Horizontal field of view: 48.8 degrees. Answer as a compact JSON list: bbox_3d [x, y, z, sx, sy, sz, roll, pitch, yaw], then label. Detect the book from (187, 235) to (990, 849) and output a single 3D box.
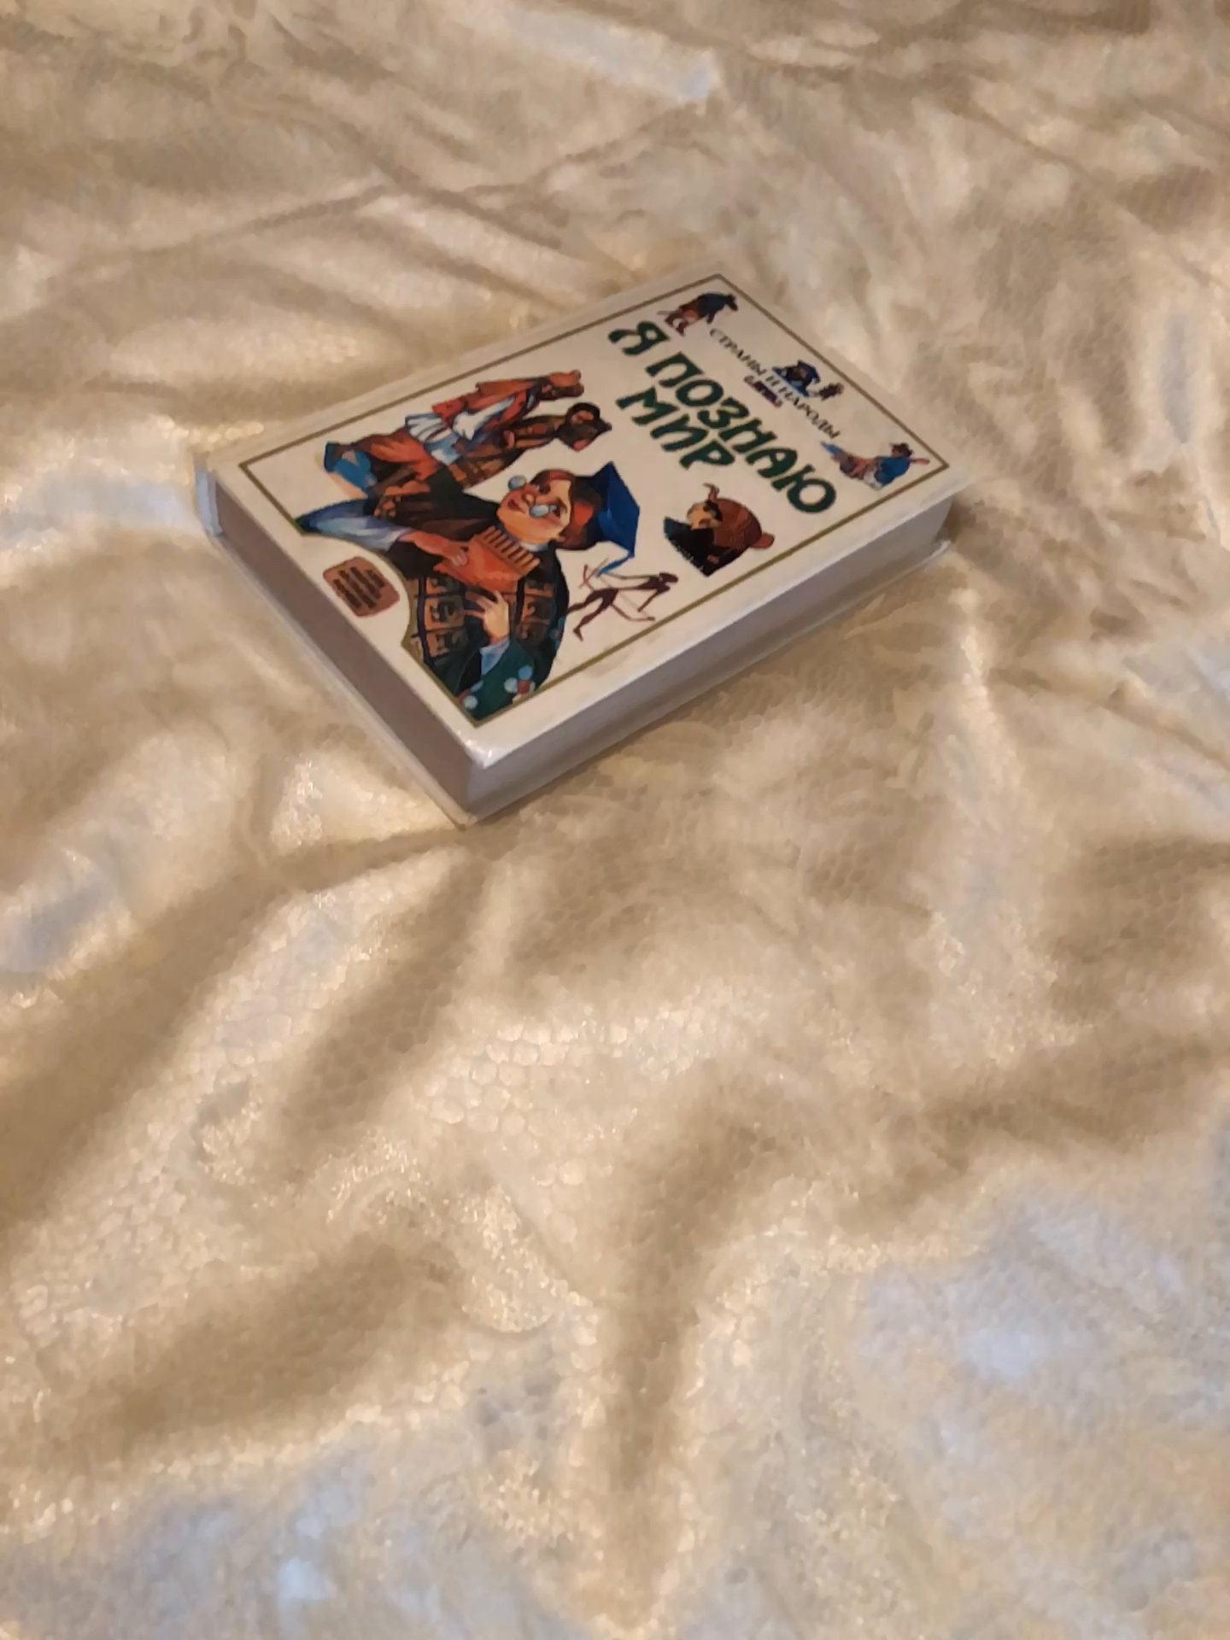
[{"bbox_3d":[-0.004,-0.096,0.411,0.198,0.037,0.134,-33,69,-28],"label":"book"}]
